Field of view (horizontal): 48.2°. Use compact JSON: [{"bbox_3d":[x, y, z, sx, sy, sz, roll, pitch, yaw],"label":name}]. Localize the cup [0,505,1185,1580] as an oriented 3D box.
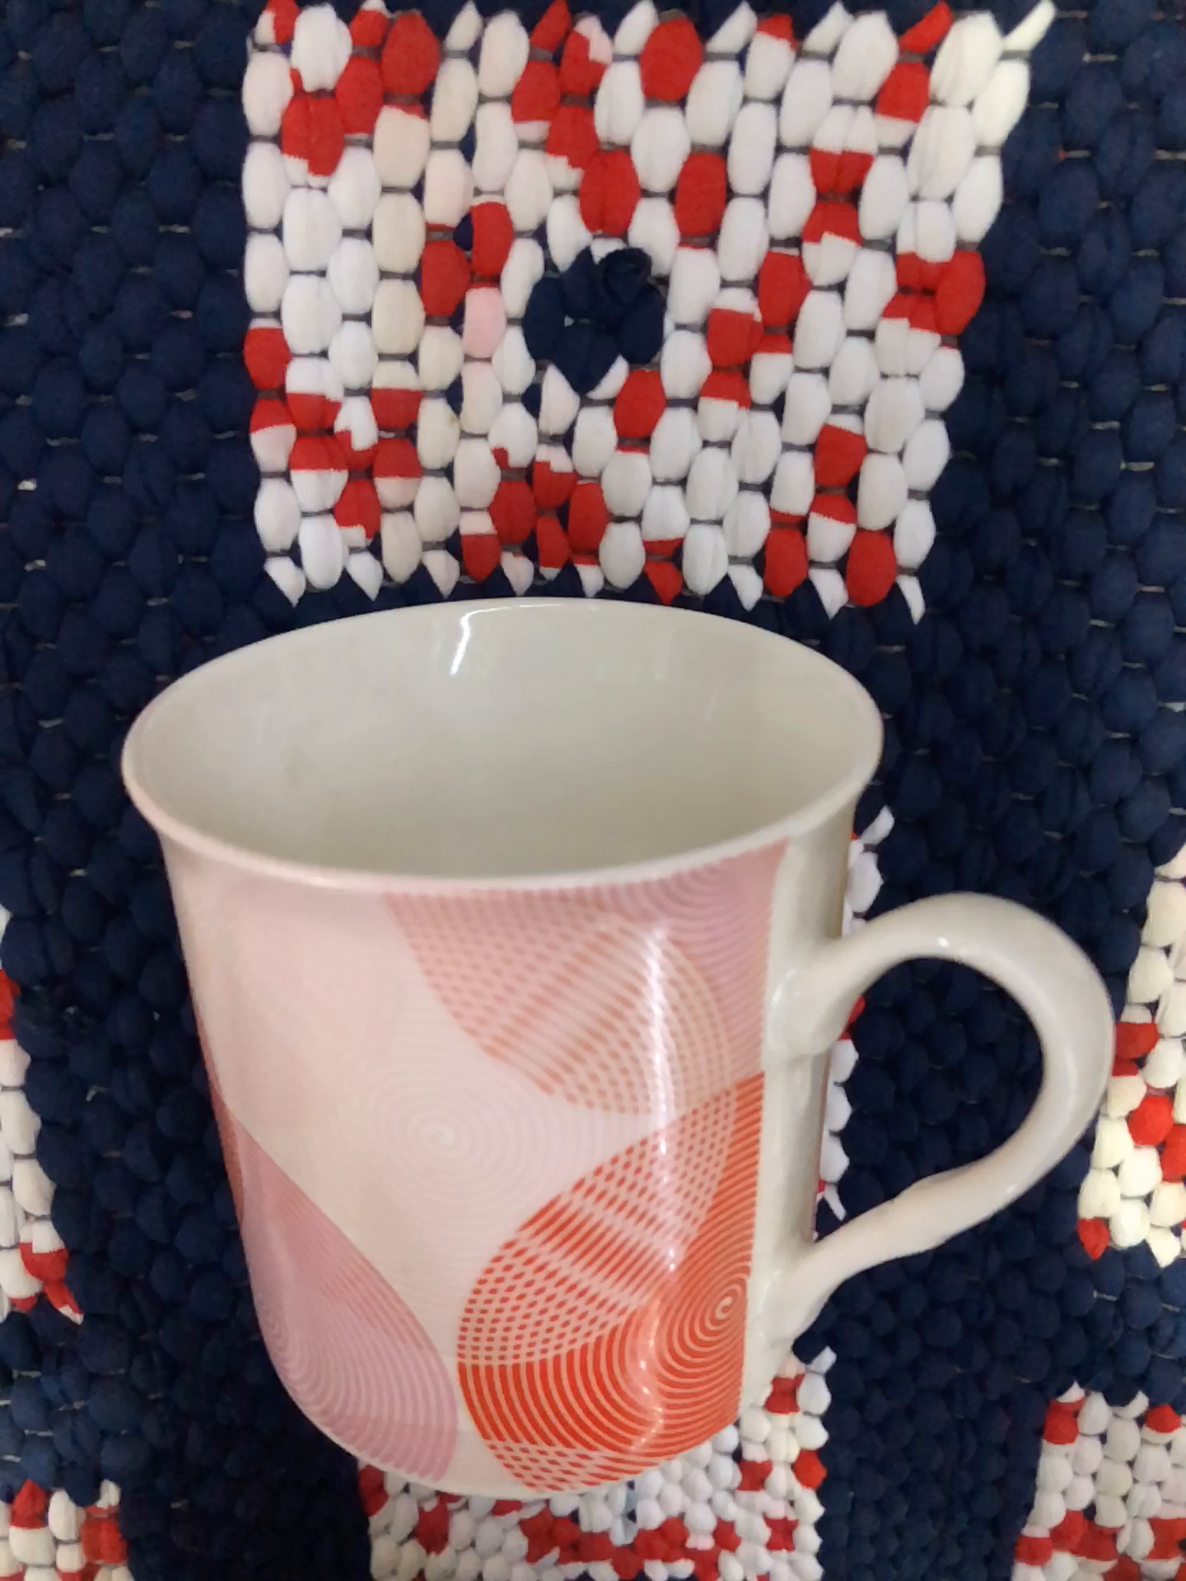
[{"bbox_3d":[0.012,0.024,0.174,0.120,0.100,0.100,11,114,28],"label":"cup"}]
